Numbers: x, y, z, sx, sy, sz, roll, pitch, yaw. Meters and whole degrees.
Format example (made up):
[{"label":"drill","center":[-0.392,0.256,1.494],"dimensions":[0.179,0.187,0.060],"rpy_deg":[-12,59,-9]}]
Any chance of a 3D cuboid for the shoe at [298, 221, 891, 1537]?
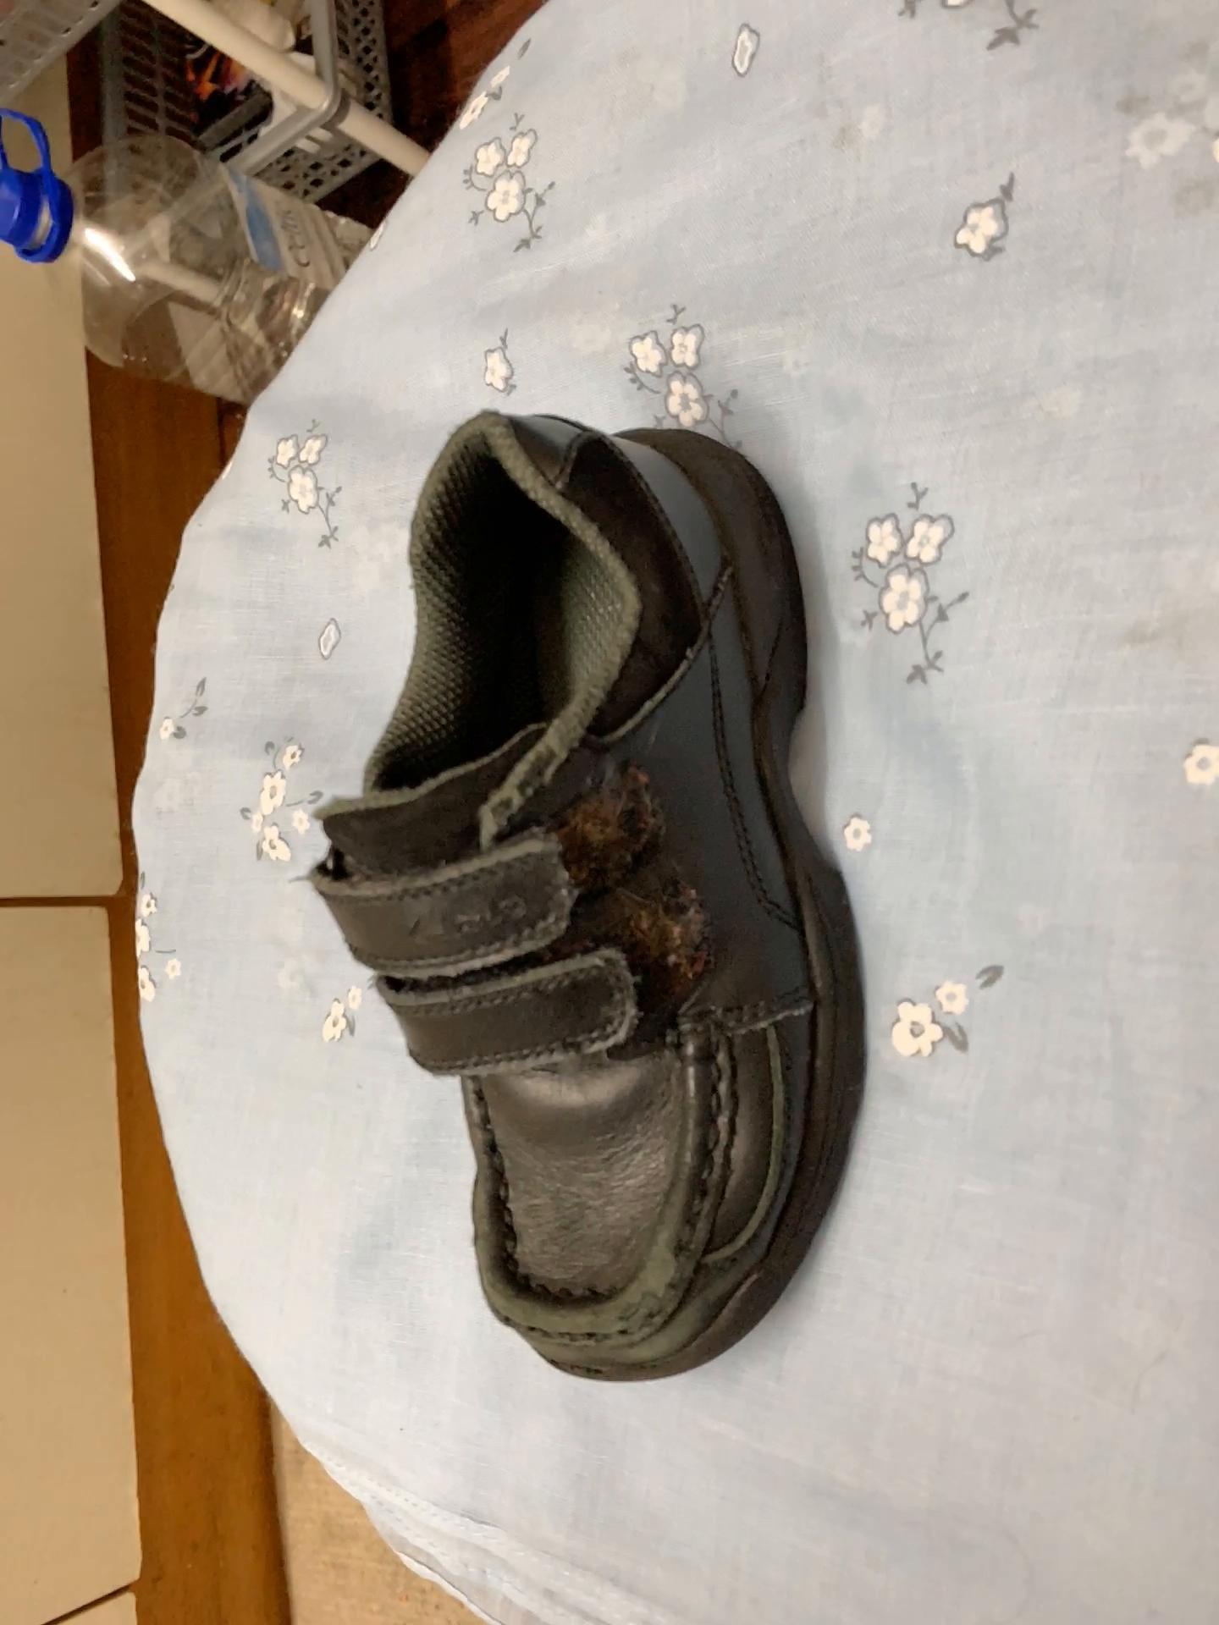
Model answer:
[{"label":"shoe","center":[-0.002,0.010,0.233],"dimensions":[0.079,0.073,0.190],"rpy_deg":[-4,84,37]}]
